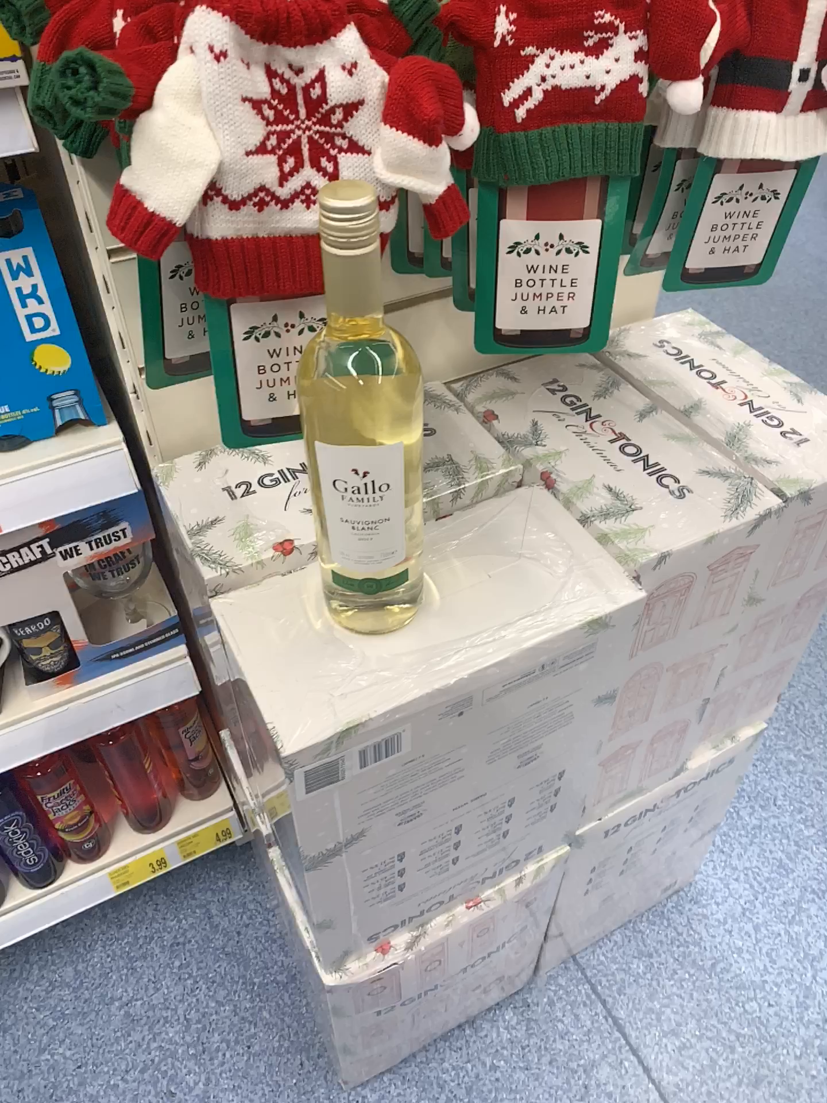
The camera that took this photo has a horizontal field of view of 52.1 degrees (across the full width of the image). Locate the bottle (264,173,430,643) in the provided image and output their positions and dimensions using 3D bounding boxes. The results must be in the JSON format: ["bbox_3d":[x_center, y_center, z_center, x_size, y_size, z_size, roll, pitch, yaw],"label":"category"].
[{"bbox_3d":[-0.028,-0.067,0.510,0.072,0.285,0.074,-1,43,1],"label":"bottle"}]
